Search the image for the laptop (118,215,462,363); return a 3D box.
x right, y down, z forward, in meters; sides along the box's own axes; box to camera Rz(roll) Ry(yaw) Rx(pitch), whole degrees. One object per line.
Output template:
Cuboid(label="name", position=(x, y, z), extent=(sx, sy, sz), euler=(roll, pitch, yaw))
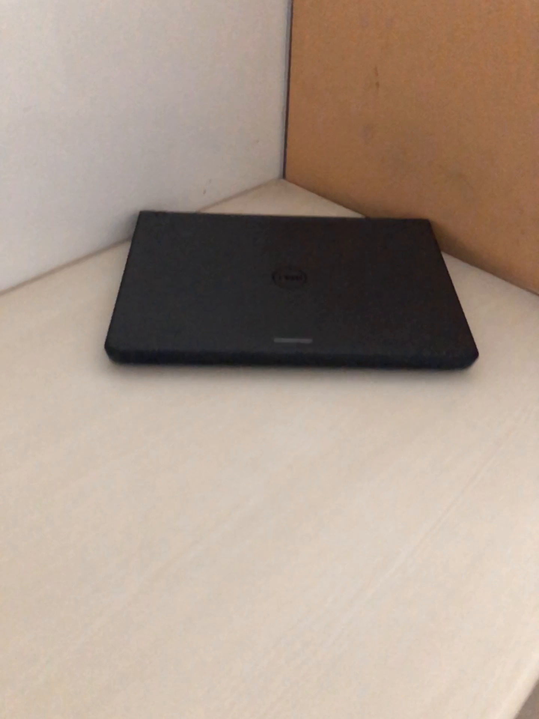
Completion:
Cuboid(label="laptop", position=(0.014, -0.080, 0.593), extent=(0.290, 0.007, 0.229), euler=(1, 42, -1))
